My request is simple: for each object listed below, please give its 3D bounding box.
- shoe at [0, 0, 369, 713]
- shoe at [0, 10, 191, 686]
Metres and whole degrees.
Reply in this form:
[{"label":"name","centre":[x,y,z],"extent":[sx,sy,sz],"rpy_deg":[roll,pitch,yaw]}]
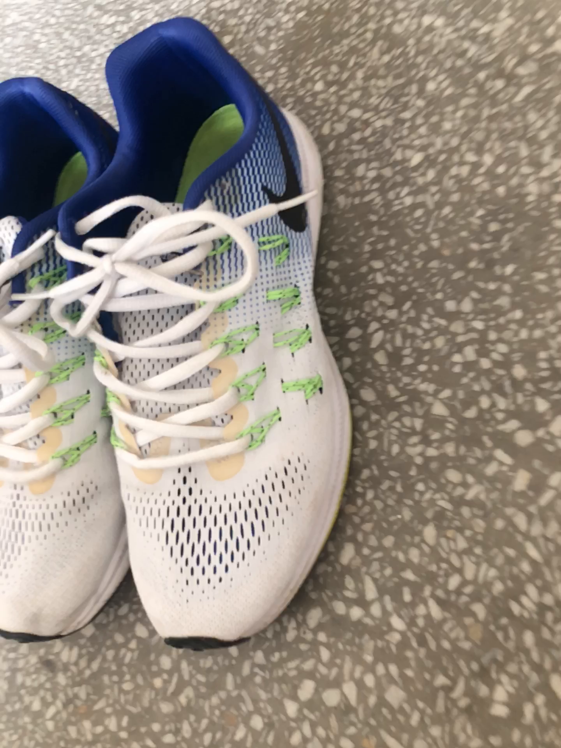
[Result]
[{"label":"shoe","centre":[-0.032,-0.021,0.276],"extent":[0.112,0.114,0.275],"rpy_deg":[-5,72,22]},{"label":"shoe","centre":[-0.135,-0.012,0.318],"extent":[0.113,0.114,0.282],"rpy_deg":[-4,73,22]}]
